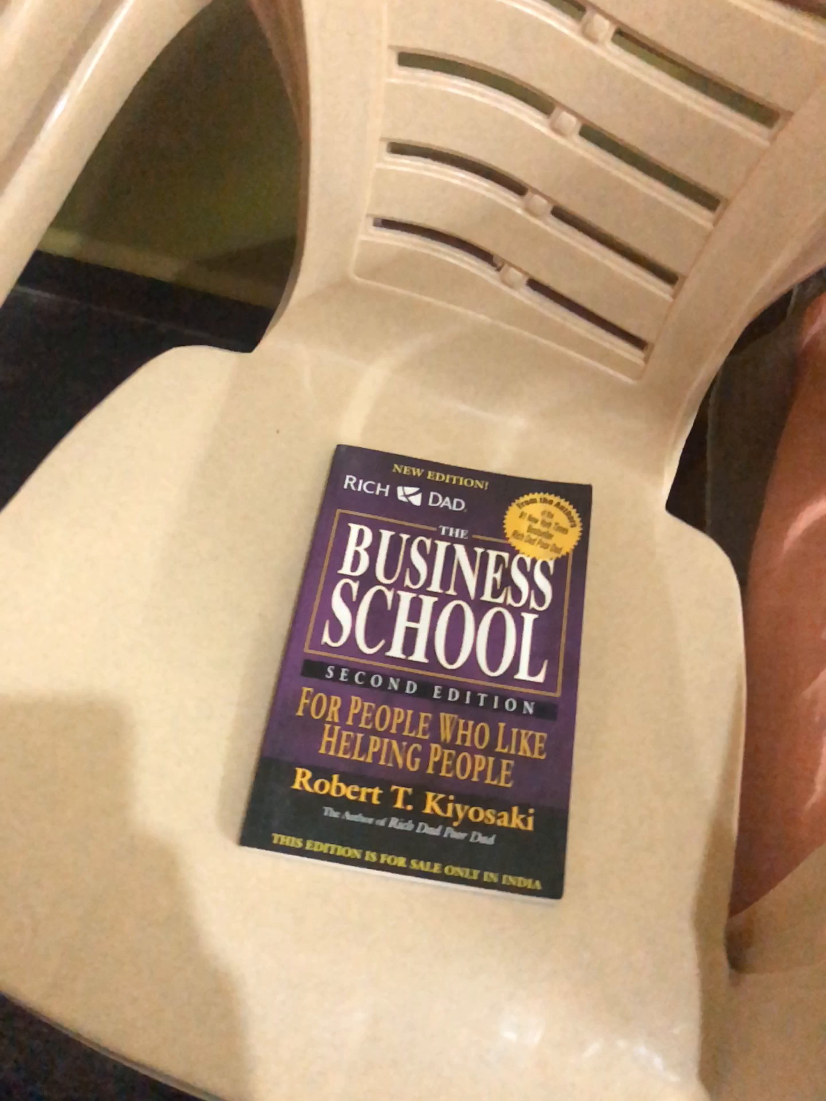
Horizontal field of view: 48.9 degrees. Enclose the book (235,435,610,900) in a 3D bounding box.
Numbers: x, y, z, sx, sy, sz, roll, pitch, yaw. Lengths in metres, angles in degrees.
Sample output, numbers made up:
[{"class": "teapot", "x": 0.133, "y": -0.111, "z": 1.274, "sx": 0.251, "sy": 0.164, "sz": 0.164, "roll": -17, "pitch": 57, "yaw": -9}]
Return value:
[{"class": "book", "x": 0.013, "y": 0.056, "z": 0.499, "sx": 0.170, "sy": 0.020, "sz": 0.230, "roll": 10, "pitch": 69, "yaw": 0}]
